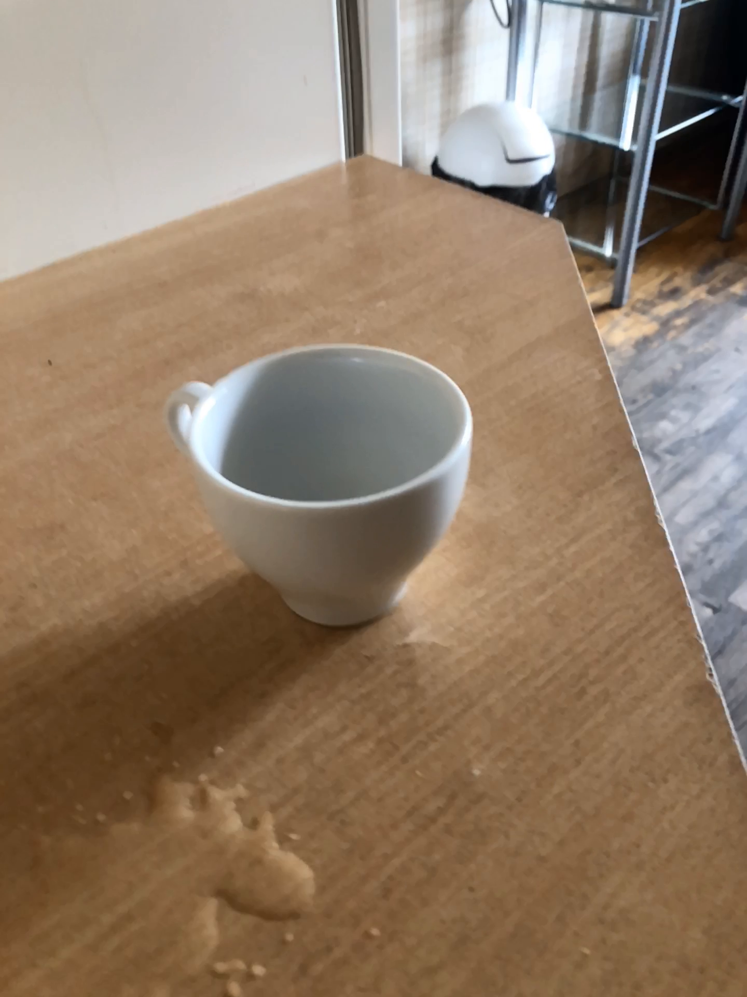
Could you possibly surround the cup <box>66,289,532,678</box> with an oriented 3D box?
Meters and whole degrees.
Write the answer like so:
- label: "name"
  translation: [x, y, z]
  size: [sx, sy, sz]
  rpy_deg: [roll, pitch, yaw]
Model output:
- label: "cup"
  translation: [-0.019, -0.012, 0.249]
  size: [0.104, 0.050, 0.080]
  rpy_deg: [22, 46, 25]
